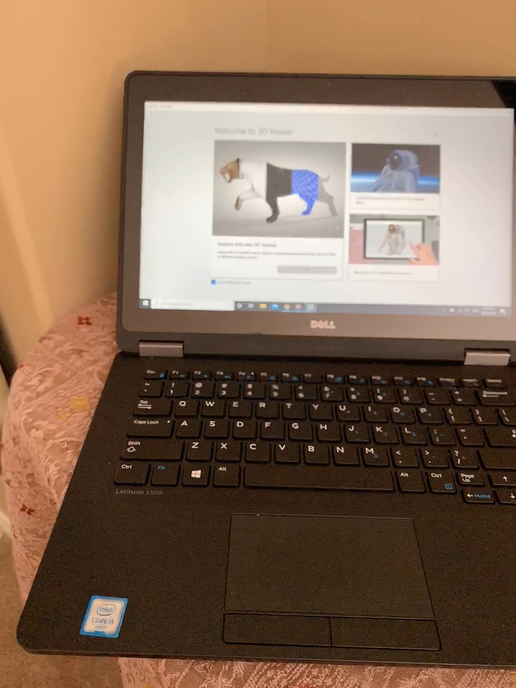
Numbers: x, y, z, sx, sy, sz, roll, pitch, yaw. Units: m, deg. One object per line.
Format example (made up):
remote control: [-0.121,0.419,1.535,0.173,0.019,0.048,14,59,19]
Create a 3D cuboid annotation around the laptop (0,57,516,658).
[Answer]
laptop: [0.059,-0.048,0.390,0.365,0.186,0.424,1,41,1]
